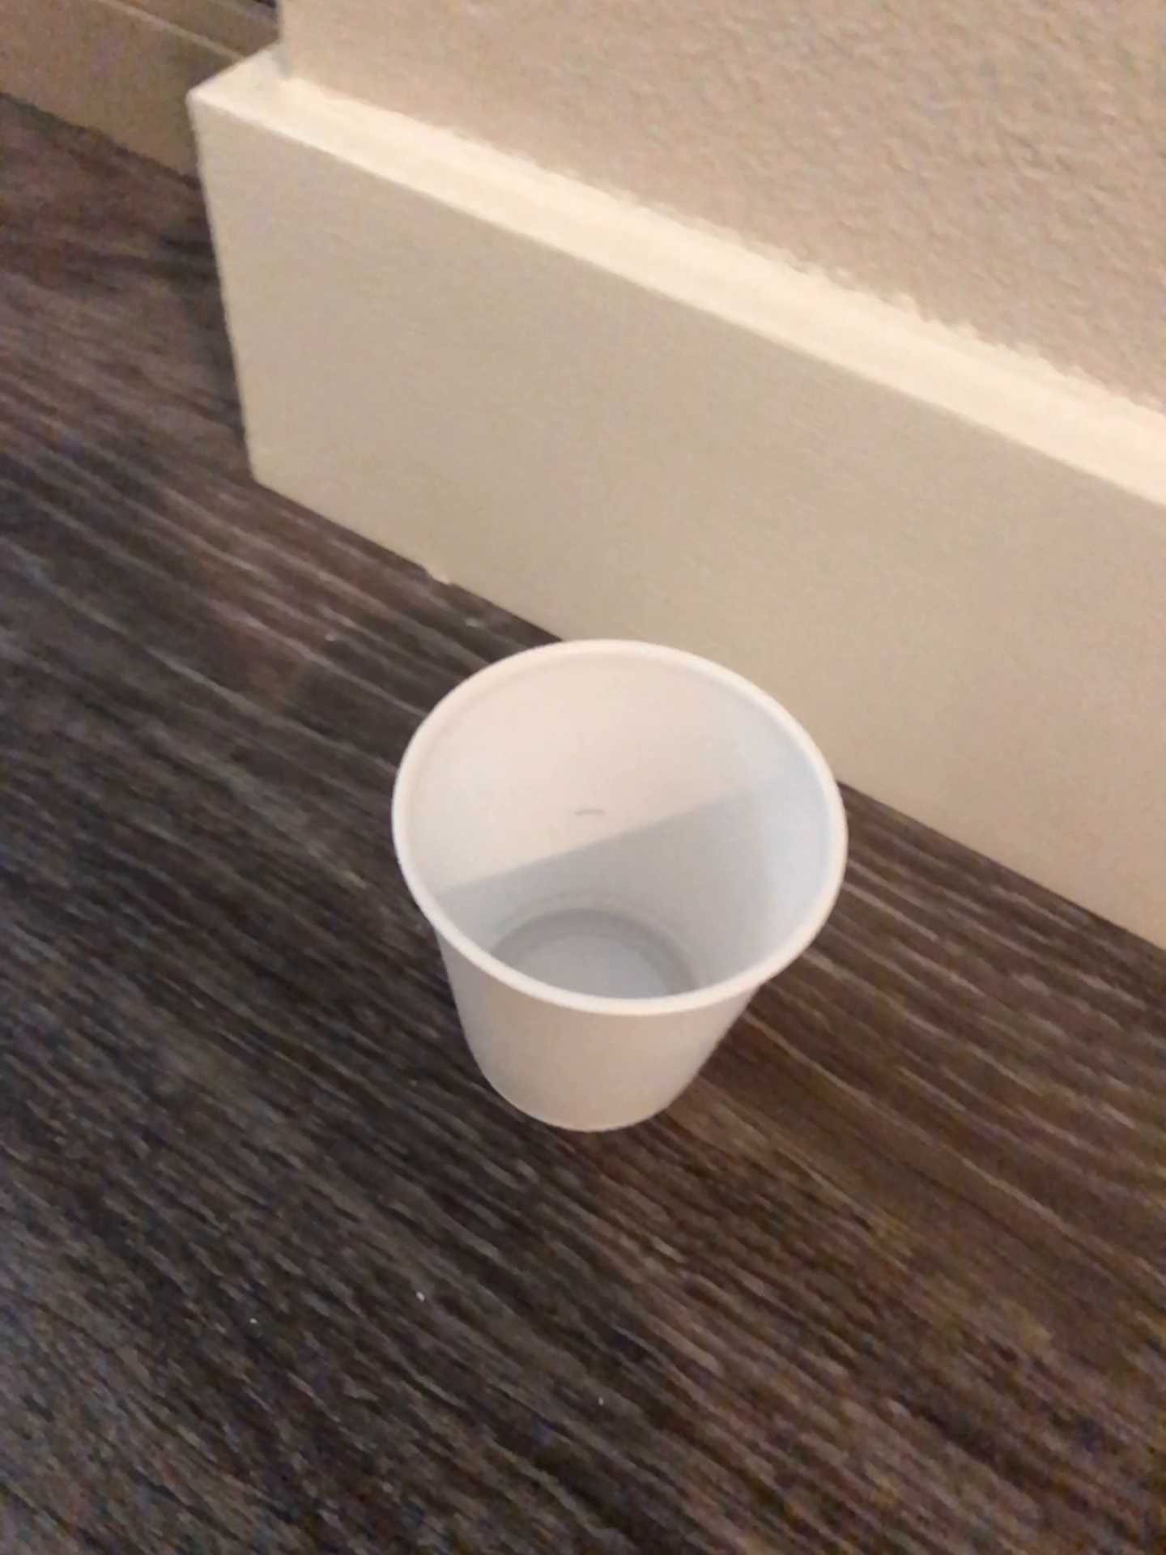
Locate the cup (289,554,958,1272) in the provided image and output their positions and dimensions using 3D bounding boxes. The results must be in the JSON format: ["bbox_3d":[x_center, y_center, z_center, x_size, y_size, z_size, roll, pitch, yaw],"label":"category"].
[{"bbox_3d":[0.002,0.019,0.188,0.060,0.060,0.060,3,53,-3],"label":"cup"}]
